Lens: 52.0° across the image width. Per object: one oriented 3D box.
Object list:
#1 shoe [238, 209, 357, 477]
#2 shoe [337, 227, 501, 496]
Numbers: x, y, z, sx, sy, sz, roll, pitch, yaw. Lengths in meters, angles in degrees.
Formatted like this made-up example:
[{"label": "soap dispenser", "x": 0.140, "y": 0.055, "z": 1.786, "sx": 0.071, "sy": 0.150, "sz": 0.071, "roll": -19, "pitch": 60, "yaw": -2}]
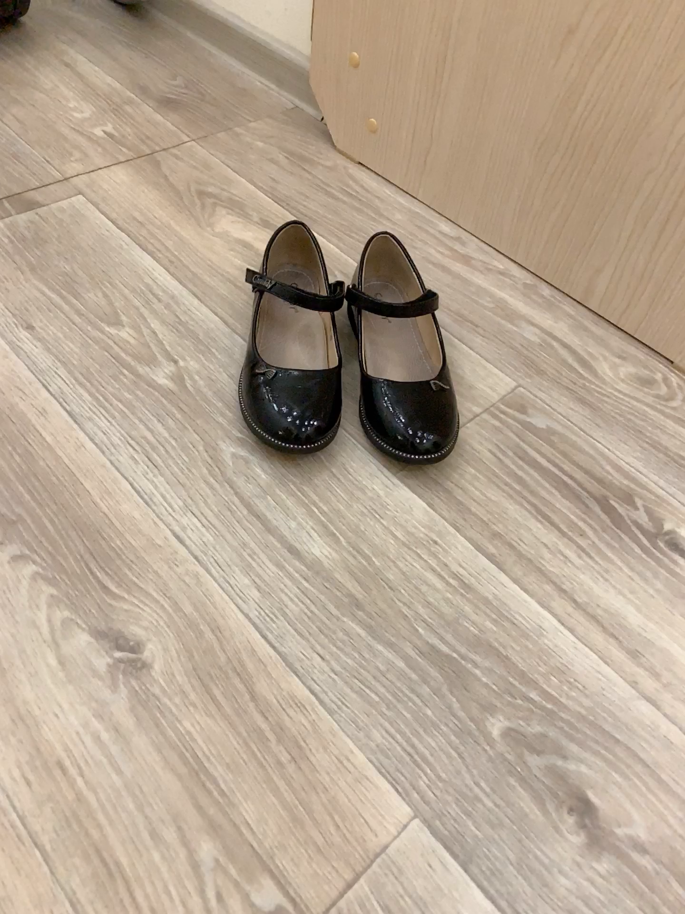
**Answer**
[{"label": "shoe", "x": -0.048, "y": -0.112, "z": 0.650, "sx": 0.090, "sy": 0.100, "sz": 0.251, "roll": 1, "pitch": 51, "yaw": -7}, {"label": "shoe", "x": 0.058, "y": -0.096, "z": 0.654, "sx": 0.090, "sy": 0.100, "sz": 0.251, "roll": -2, "pitch": 51, "yaw": -9}]
